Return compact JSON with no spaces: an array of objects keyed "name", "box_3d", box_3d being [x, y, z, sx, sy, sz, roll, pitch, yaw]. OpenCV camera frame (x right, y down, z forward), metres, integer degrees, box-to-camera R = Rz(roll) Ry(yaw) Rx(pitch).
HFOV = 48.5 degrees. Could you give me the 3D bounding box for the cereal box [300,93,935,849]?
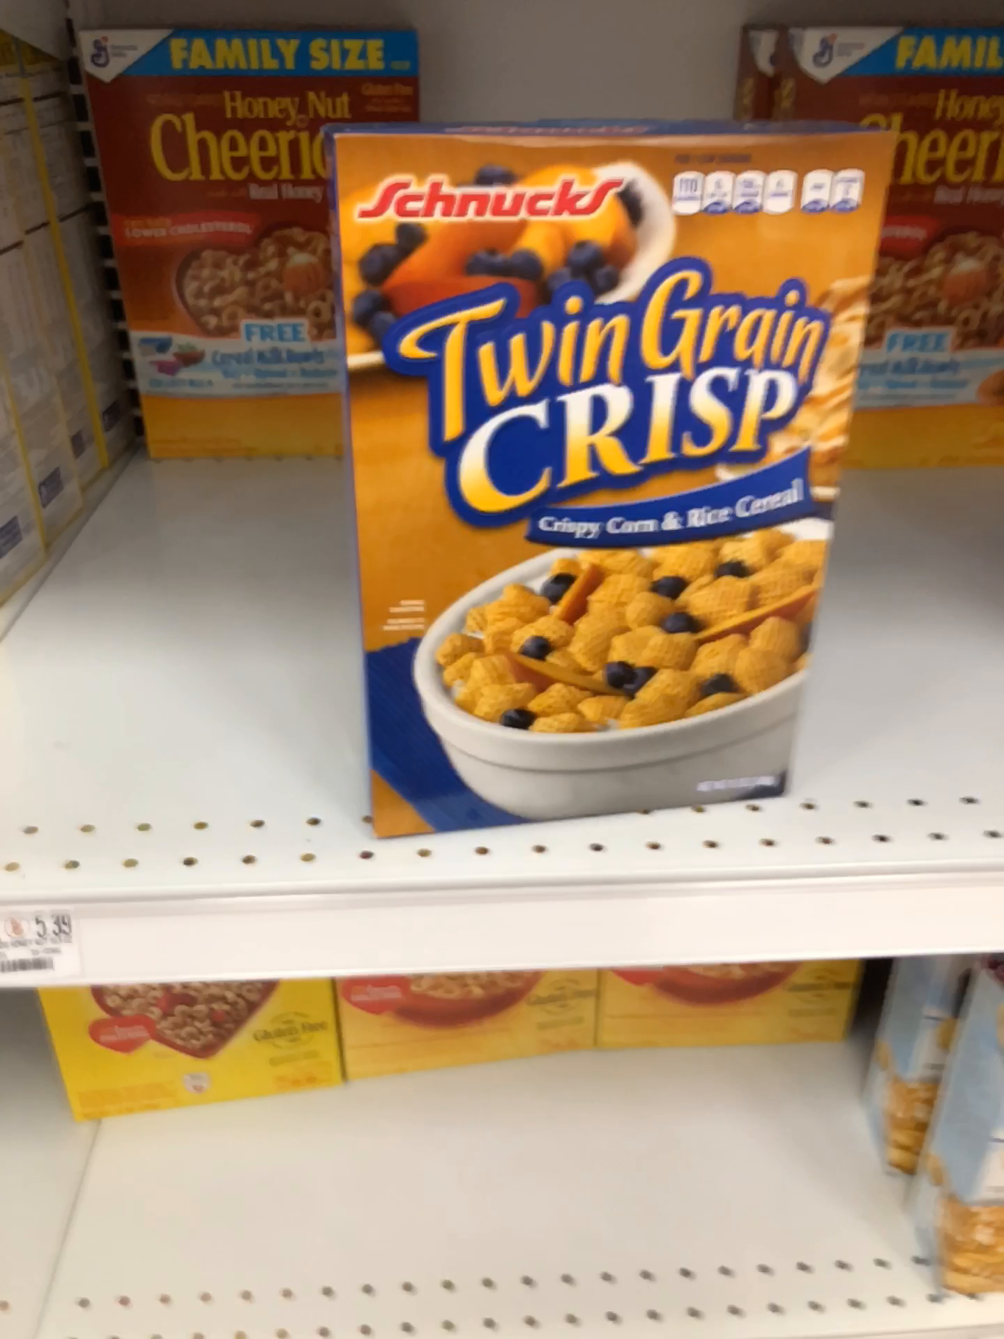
[{"name":"cereal box","box_3d":[0.035,-0.074,0.462,0.210,0.289,0.070,-5,31,-11]}]
